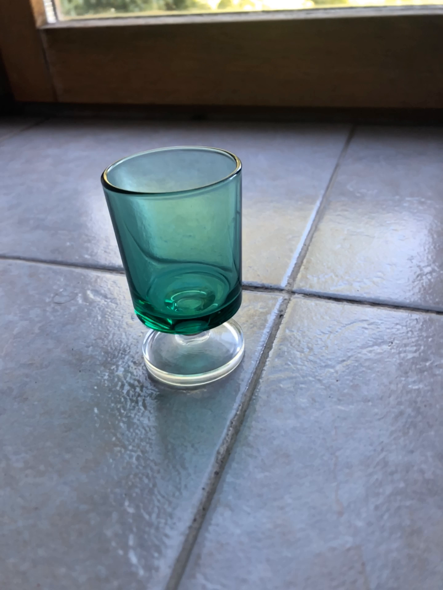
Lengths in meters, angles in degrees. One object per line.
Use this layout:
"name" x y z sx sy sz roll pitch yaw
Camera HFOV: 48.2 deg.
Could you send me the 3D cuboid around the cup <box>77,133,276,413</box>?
"cup" -0.013 -0.008 0.159 0.045 0.068 0.044 -4 35 3
